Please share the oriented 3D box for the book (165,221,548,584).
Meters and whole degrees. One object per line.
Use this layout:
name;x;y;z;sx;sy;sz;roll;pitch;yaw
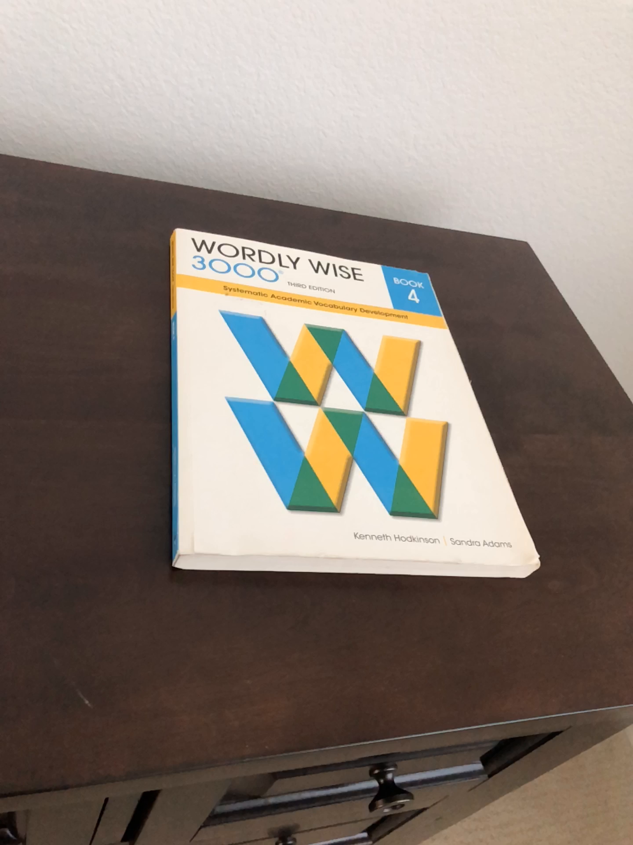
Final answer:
book;0.011;-0.025;0.465;0.217;0.020;0.274;6;49;-19
